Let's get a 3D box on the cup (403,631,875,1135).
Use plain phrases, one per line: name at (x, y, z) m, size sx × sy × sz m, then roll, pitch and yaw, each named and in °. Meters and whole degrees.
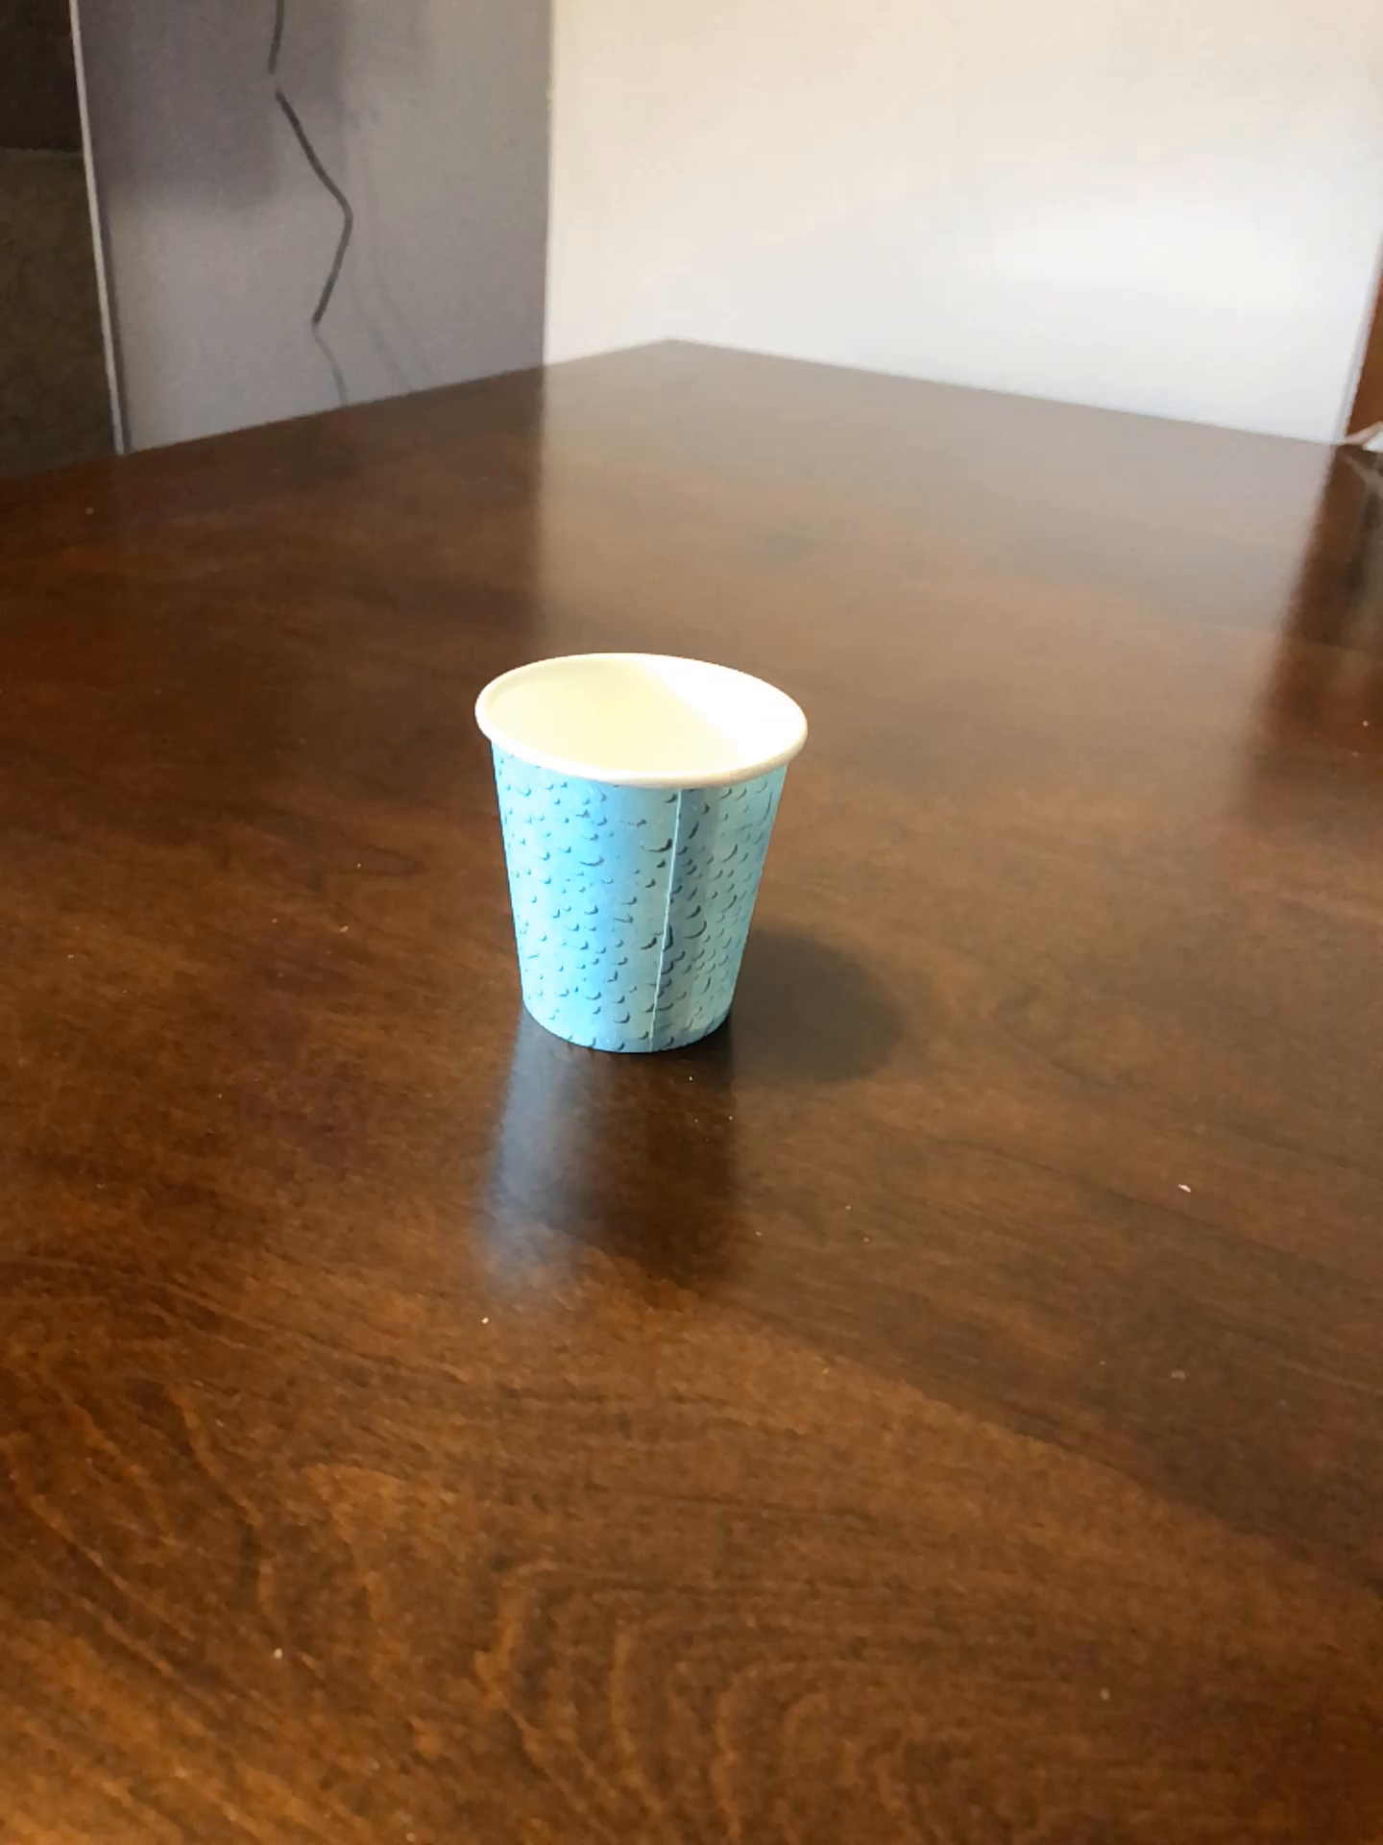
cup at (-0.009, -0.011, 0.281) m, size 0.060 × 0.060 × 0.060 m, roll 3°, pitch 28°, yaw -2°
